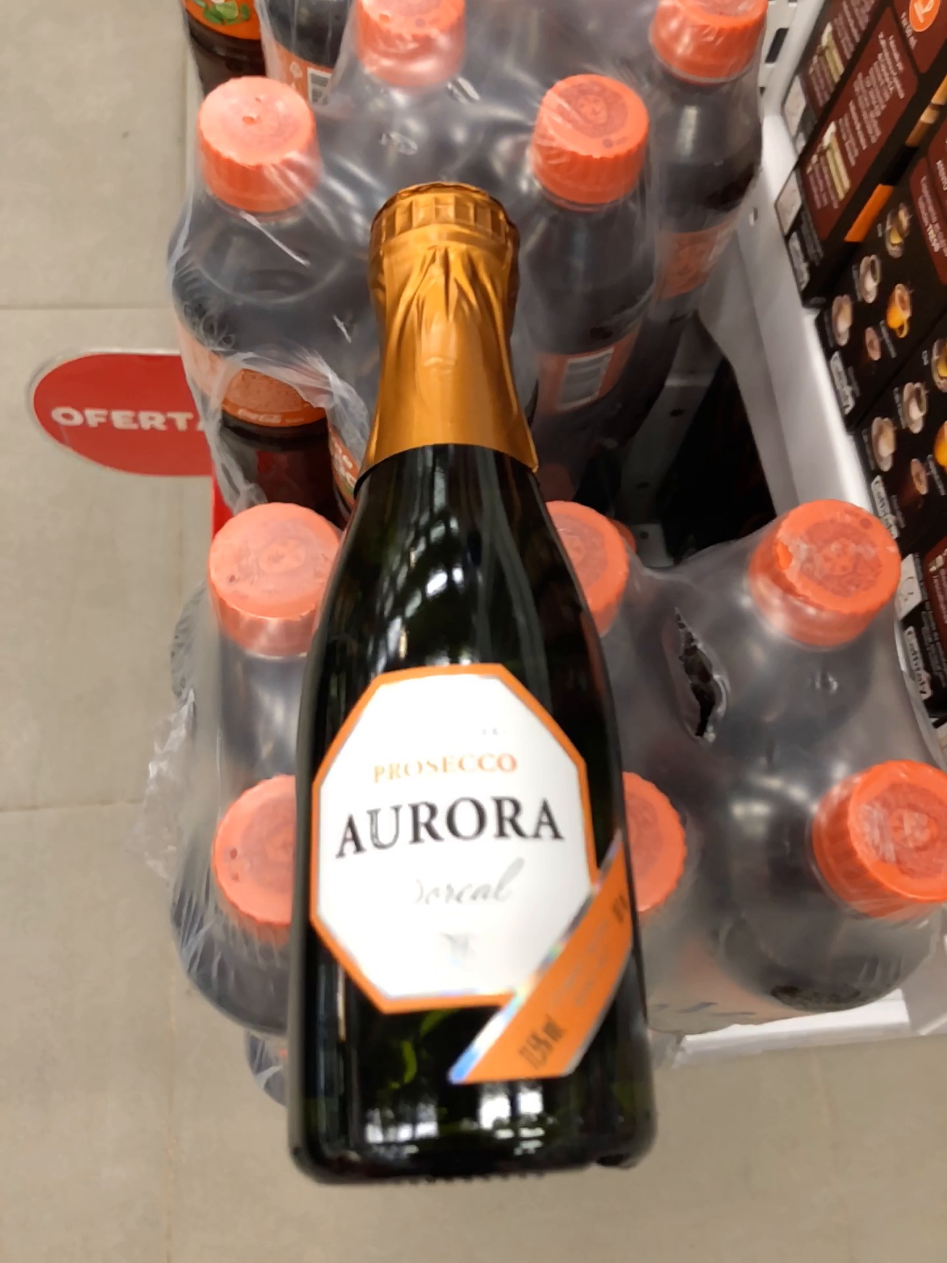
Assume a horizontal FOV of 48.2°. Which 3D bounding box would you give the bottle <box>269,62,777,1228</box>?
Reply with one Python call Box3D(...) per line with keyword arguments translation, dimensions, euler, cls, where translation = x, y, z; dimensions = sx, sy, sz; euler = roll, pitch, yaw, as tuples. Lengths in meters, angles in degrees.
Box3D(translation=(0.003, -0.006, 0.180), dimensions=(0.060, 0.050, 0.180), euler=(2, 69, -5), cls="bottle")
